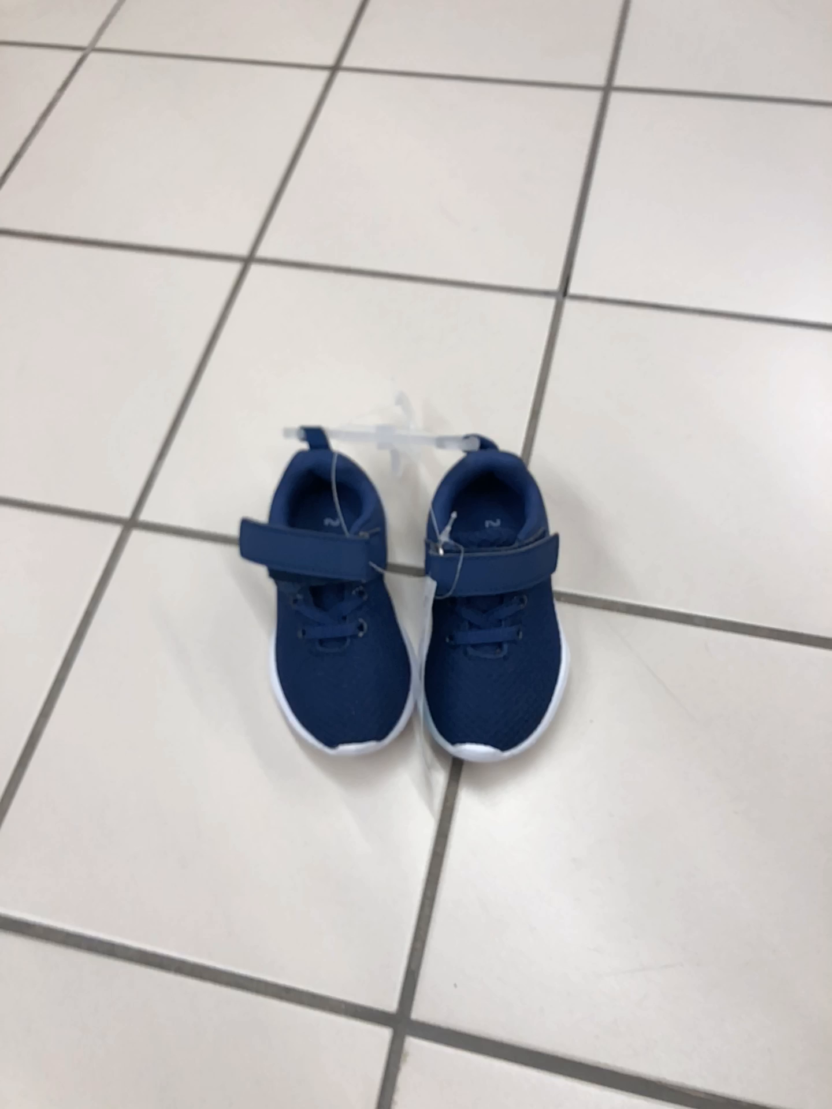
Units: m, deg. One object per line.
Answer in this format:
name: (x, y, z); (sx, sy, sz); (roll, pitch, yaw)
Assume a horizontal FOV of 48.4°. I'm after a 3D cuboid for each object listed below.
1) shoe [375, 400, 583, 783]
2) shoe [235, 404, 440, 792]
shoe: (0.033, 0.015, 0.432); (0.081, 0.074, 0.160); (2, 60, 6)
shoe: (-0.038, 0.019, 0.437); (0.074, 0.076, 0.158); (-8, 60, 0)
